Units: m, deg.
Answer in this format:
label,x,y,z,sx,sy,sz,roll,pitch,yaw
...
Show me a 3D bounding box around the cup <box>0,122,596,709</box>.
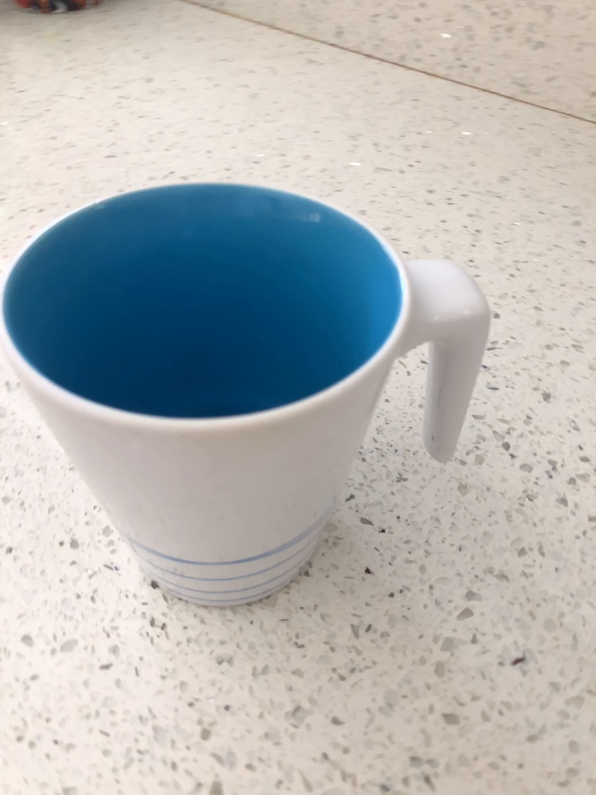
label,x,y,z,sx,sy,sz,roll,pitch,yaw
cup,0.000,-0.001,0.173,0.120,0.090,0.080,-20,49,-20
